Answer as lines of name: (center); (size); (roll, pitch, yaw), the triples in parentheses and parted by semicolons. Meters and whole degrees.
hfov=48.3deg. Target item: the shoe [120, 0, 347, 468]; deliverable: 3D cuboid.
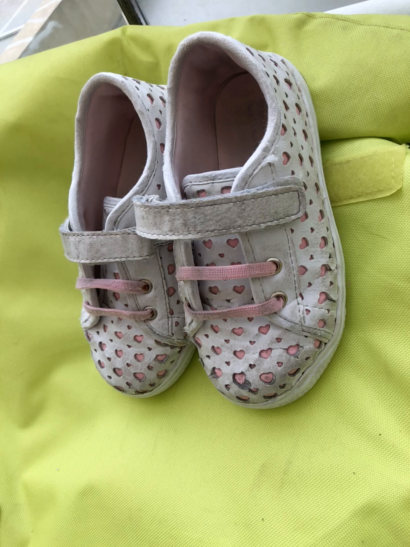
shoe: (0.015, -0.019, 0.205); (0.080, 0.060, 0.176); (-2, 90, 24)

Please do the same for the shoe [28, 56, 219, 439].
shoe: (-0.046, -0.015, 0.254); (0.081, 0.060, 0.175); (7, 99, 29)
